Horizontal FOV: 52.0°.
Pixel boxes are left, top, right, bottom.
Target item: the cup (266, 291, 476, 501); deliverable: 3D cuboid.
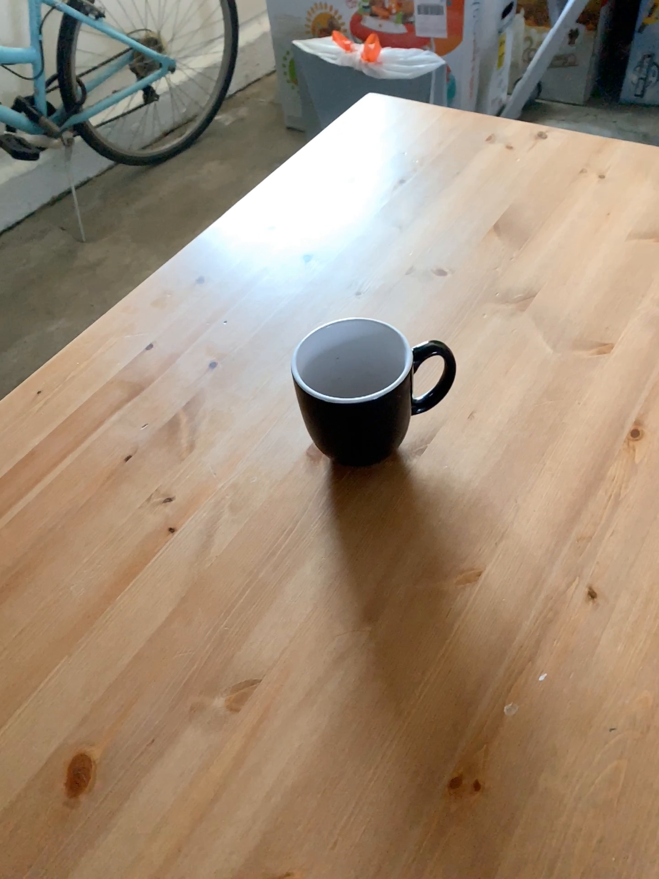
[{"bbox_3d":[0.035,-0.038,0.582,0.140,0.100,0.100,-21,52,-9],"label":"cup"}]
